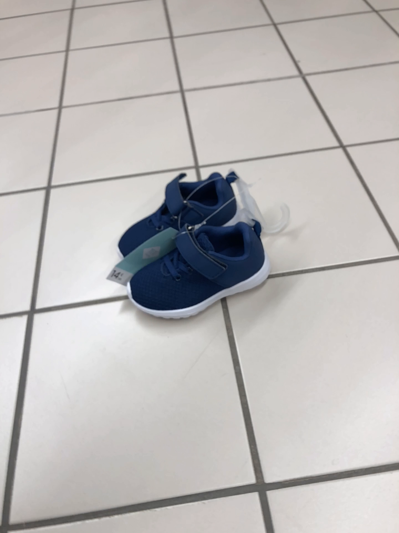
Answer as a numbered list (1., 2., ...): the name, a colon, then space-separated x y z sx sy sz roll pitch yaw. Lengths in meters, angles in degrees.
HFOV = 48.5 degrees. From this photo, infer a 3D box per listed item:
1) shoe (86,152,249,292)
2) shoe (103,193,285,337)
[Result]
1. shoe: -0.032 -0.052 0.499 0.158 0.076 0.075 -24 52 -14
2. shoe: -0.006 -0.003 0.454 0.160 0.073 0.081 -15 51 -7
